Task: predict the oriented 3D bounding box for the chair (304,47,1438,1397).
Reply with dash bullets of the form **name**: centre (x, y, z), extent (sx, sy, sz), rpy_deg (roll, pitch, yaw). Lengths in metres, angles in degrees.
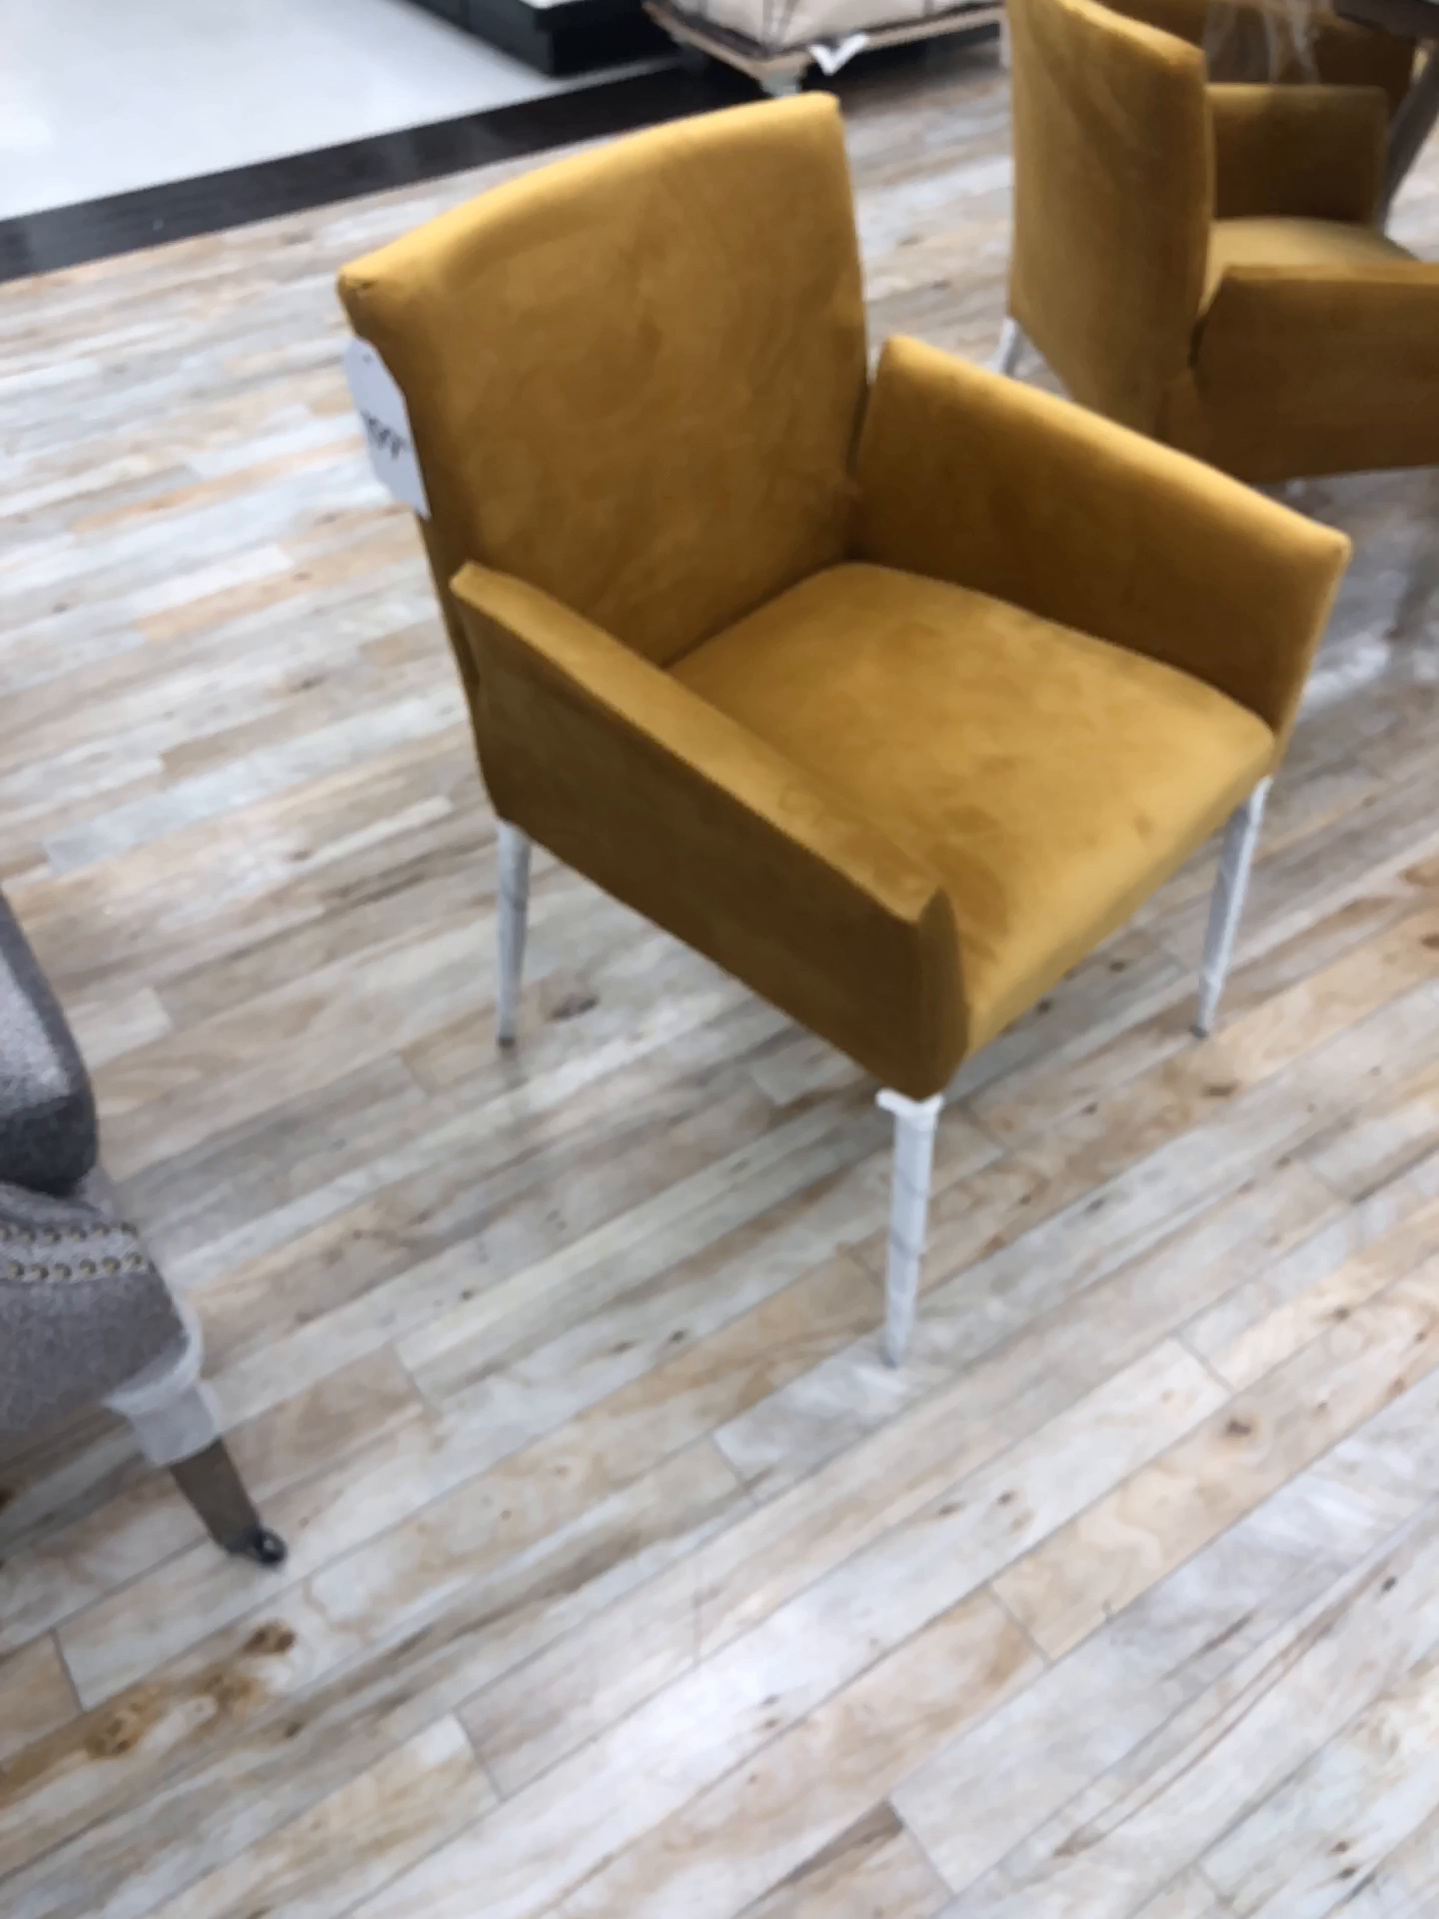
- **chair**: centre (0.125, -0.193, 1.328), extent (0.541, 0.797, 0.561), rpy_deg (32, 54, 28)
